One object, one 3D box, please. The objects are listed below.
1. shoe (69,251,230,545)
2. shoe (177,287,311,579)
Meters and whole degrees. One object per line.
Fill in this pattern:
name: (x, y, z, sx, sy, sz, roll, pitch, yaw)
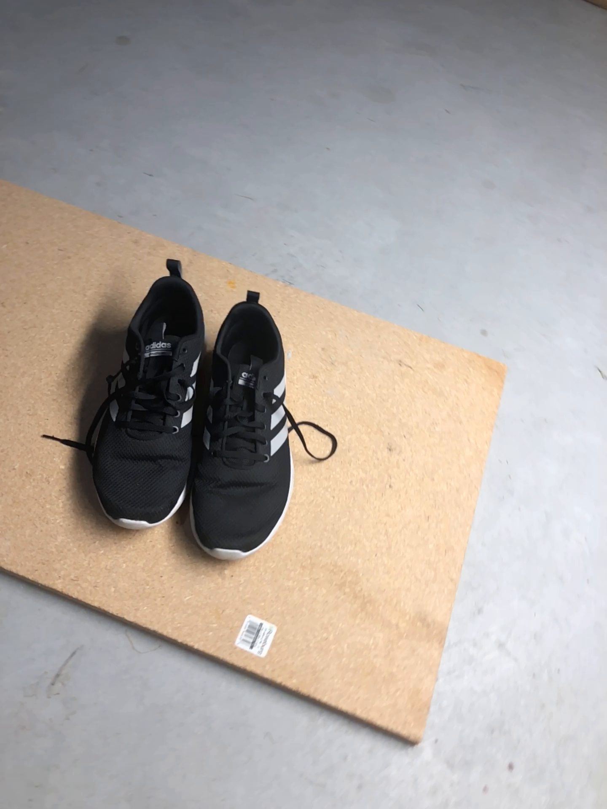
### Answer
shoe: (-0.158, -0.015, 0.719, 0.110, 0.090, 0.300, 11, 55, -11)
shoe: (-0.059, 0.023, 0.727, 0.110, 0.090, 0.300, 9, 55, -12)
